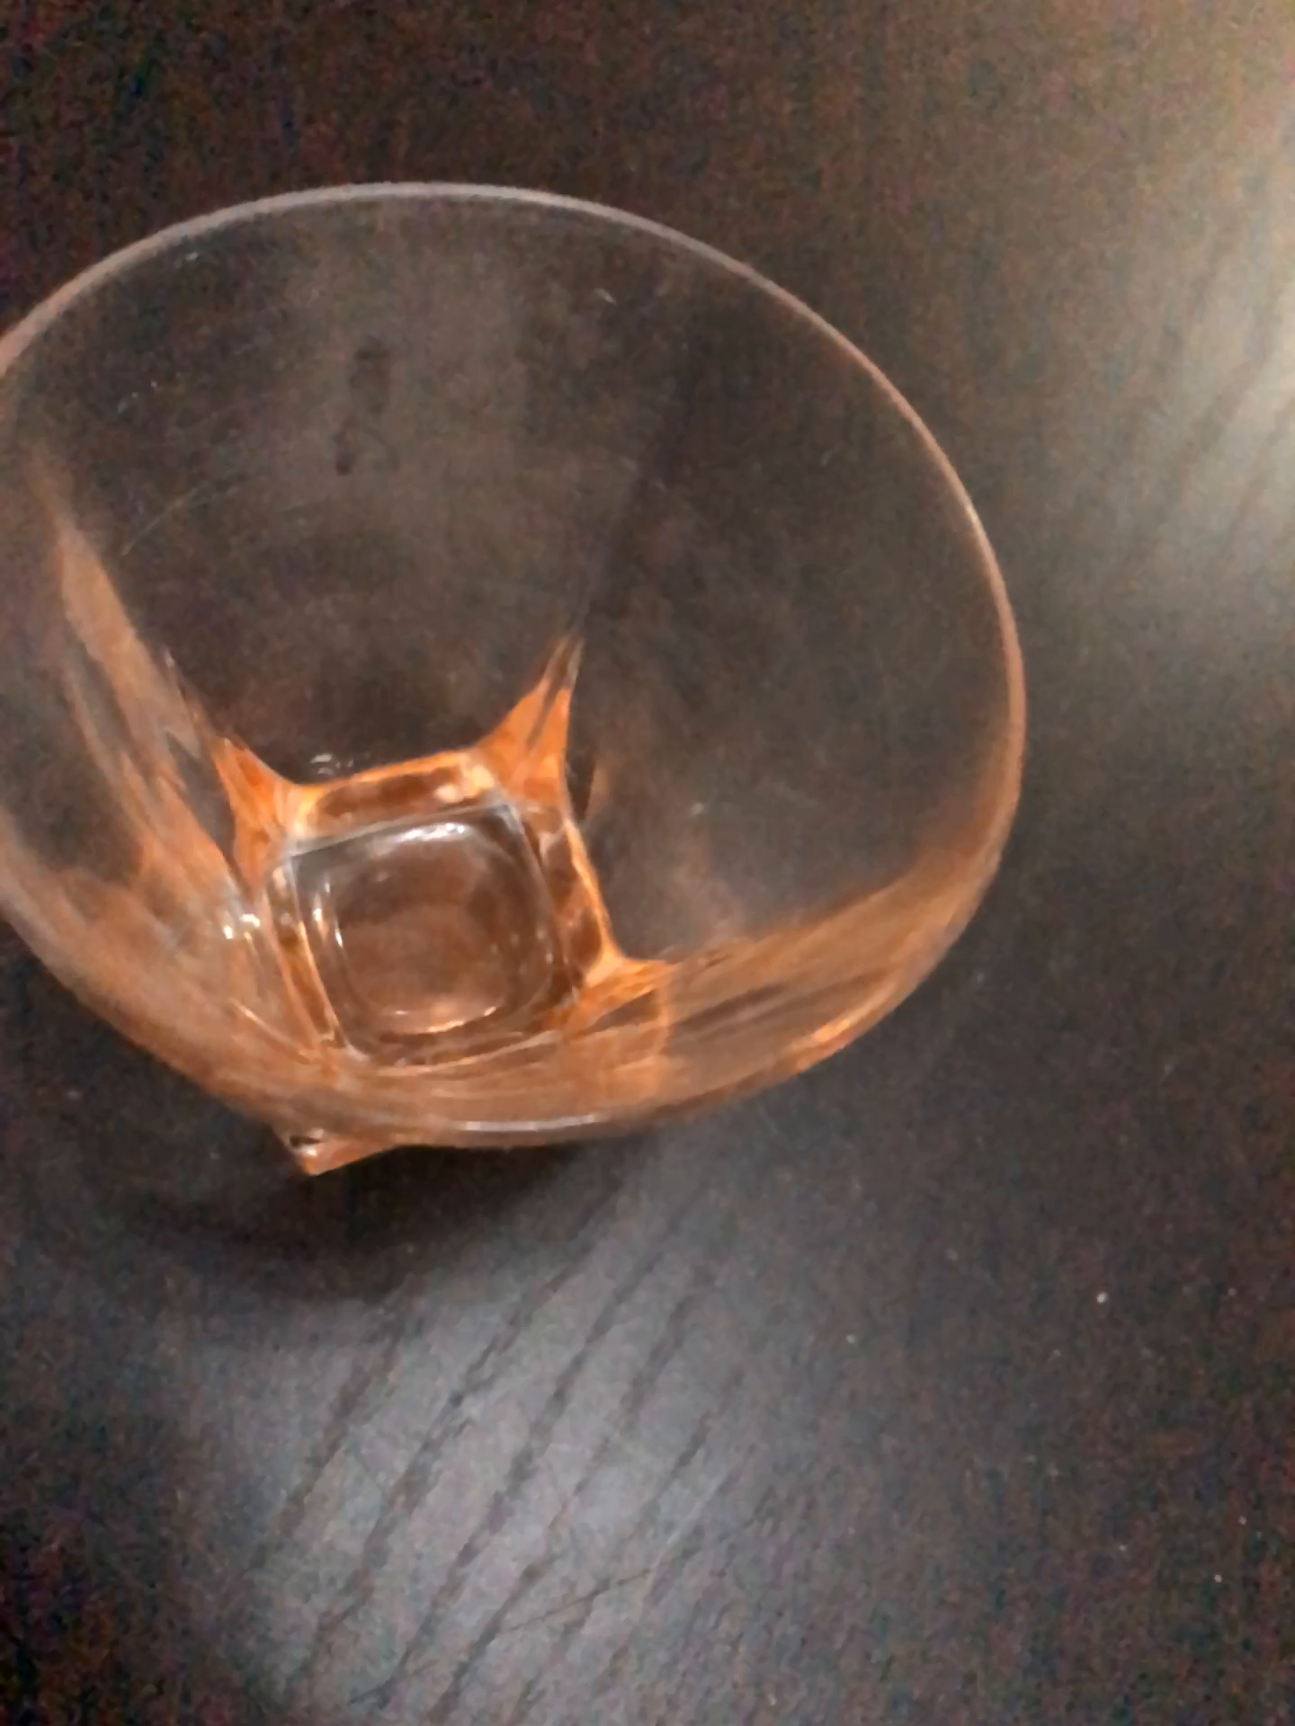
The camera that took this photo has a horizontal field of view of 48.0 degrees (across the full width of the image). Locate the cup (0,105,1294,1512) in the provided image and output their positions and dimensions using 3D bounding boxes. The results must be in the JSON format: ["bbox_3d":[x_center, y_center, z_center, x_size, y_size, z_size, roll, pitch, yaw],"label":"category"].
[{"bbox_3d":[-0.017,-0.002,0.163,0.110,0.100,0.110,6,65,-12],"label":"cup"}]
